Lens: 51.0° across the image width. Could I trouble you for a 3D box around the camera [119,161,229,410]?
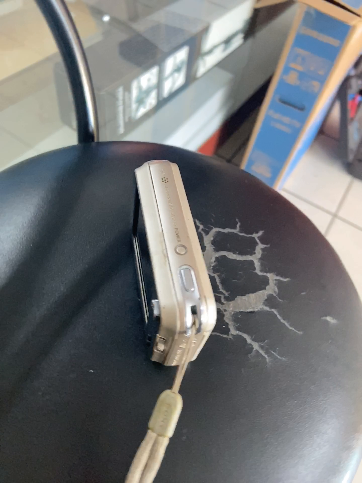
[{"bbox_3d":[-0.011,0.019,0.196,0.030,0.060,0.110,-4,55,-14],"label":"camera"}]
